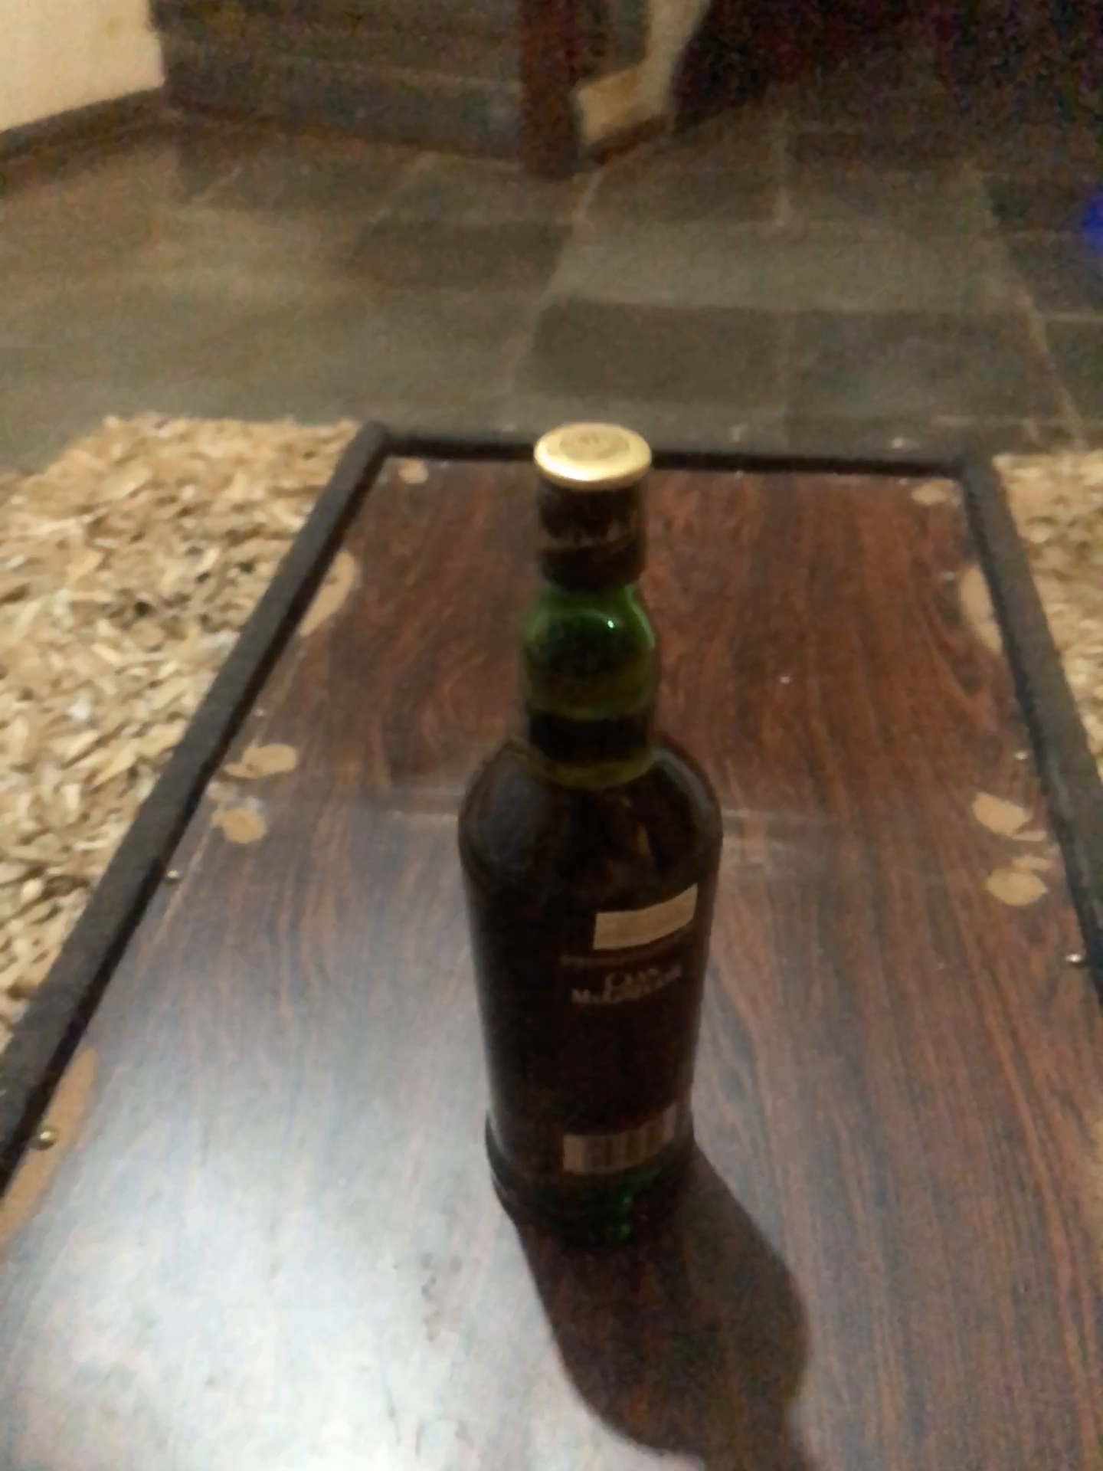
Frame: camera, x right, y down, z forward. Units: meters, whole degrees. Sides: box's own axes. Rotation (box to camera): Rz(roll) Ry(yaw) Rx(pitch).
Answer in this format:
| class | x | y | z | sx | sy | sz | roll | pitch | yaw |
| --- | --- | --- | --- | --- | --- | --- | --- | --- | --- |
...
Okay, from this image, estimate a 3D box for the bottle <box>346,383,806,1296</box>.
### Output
| class | x | y | z | sx | sy | sz | roll | pitch | yaw |
| --- | --- | --- | --- | --- | --- | --- | --- | --- | --- |
| bottle | 0.003 | 0.054 | 0.409 | 0.100 | 0.307 | 0.101 | -1 | 39 | 1 |
